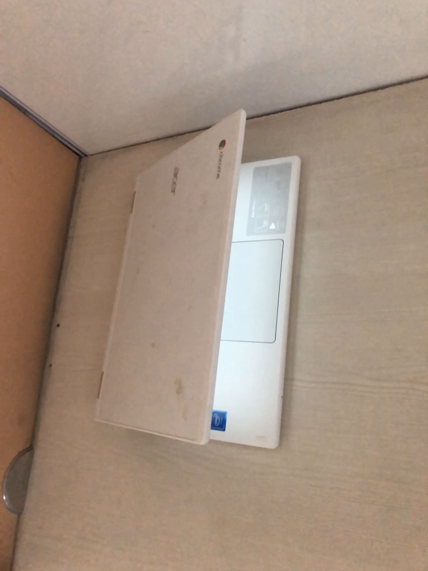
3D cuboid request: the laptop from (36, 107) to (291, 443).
[{"bbox_3d":[-0.044,-0.006,0.471,0.201,0.092,0.283,-1,73,30],"label":"laptop"}]
